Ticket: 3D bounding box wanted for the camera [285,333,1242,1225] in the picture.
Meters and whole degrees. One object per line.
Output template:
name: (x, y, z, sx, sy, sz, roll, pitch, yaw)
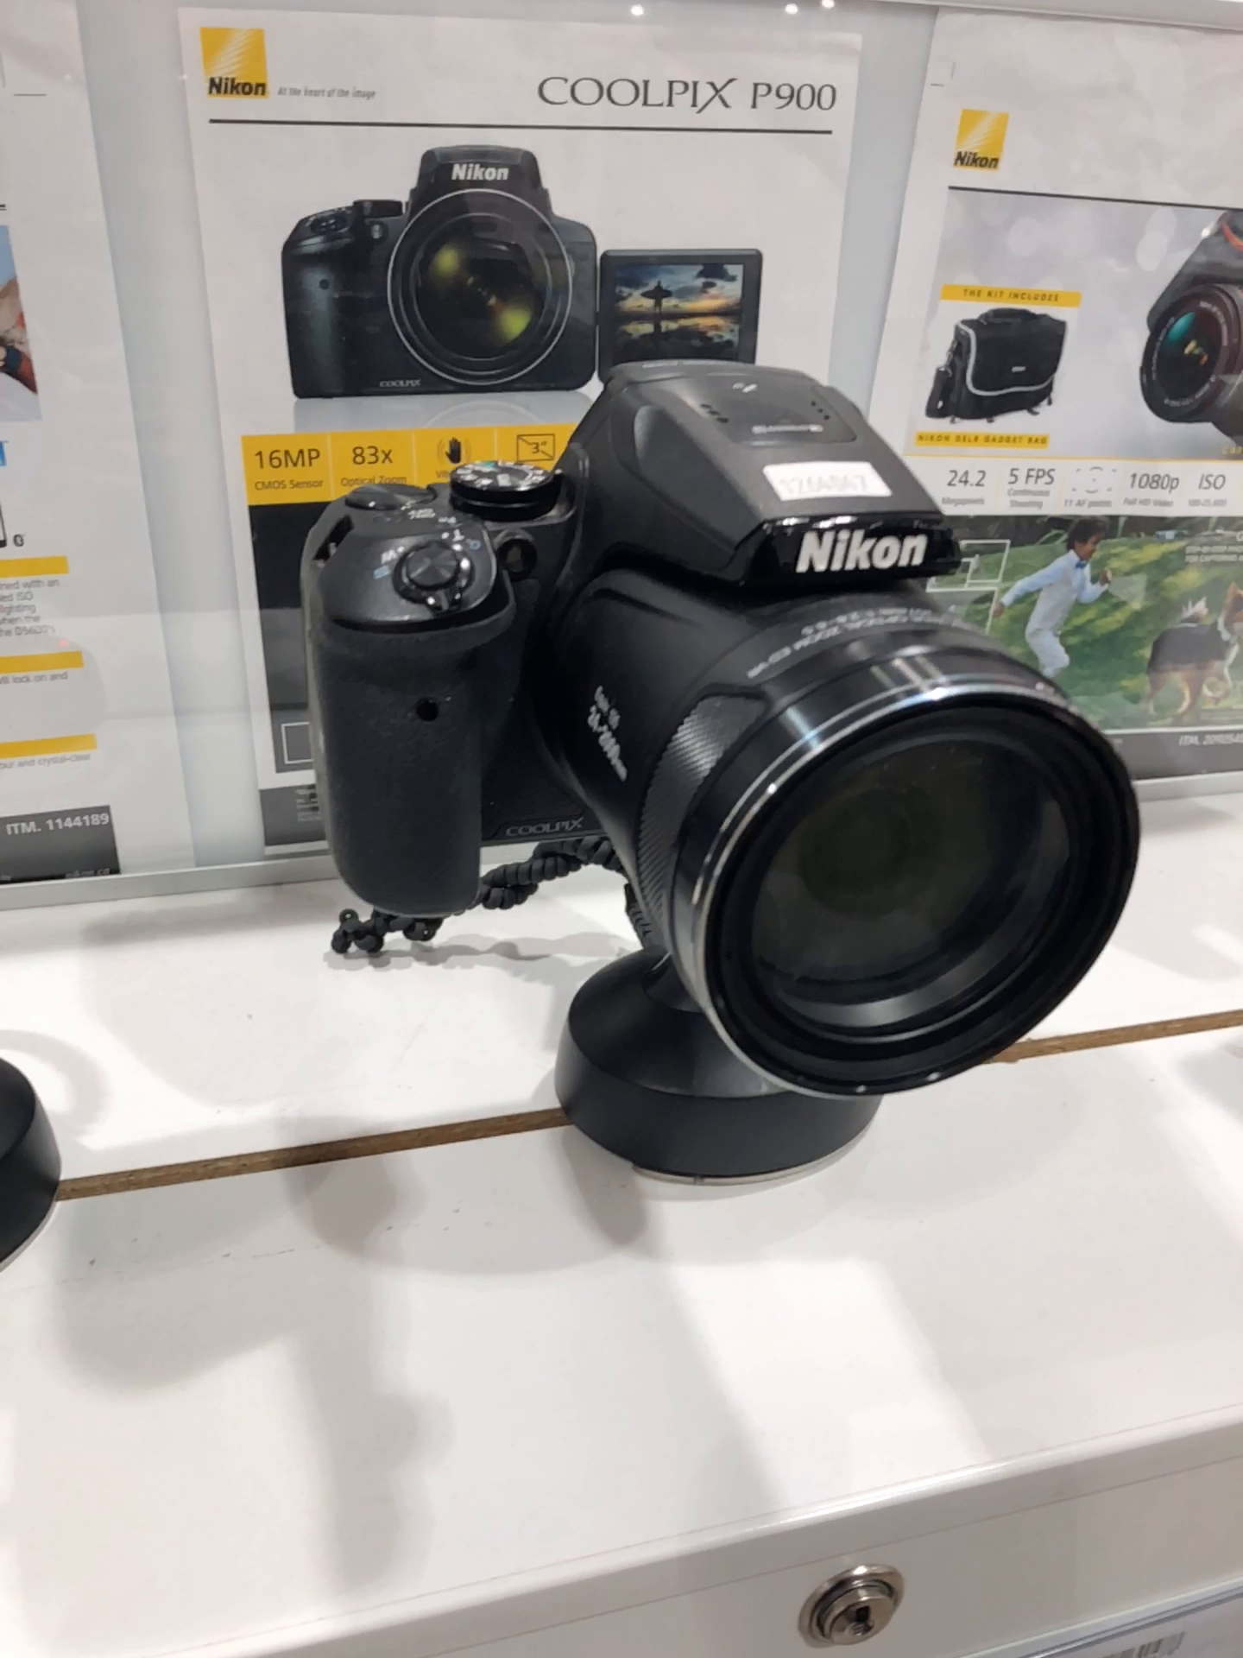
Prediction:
camera: (0.018, -0.030, 0.265, 0.140, 0.100, 0.161, -6, 29, -17)
